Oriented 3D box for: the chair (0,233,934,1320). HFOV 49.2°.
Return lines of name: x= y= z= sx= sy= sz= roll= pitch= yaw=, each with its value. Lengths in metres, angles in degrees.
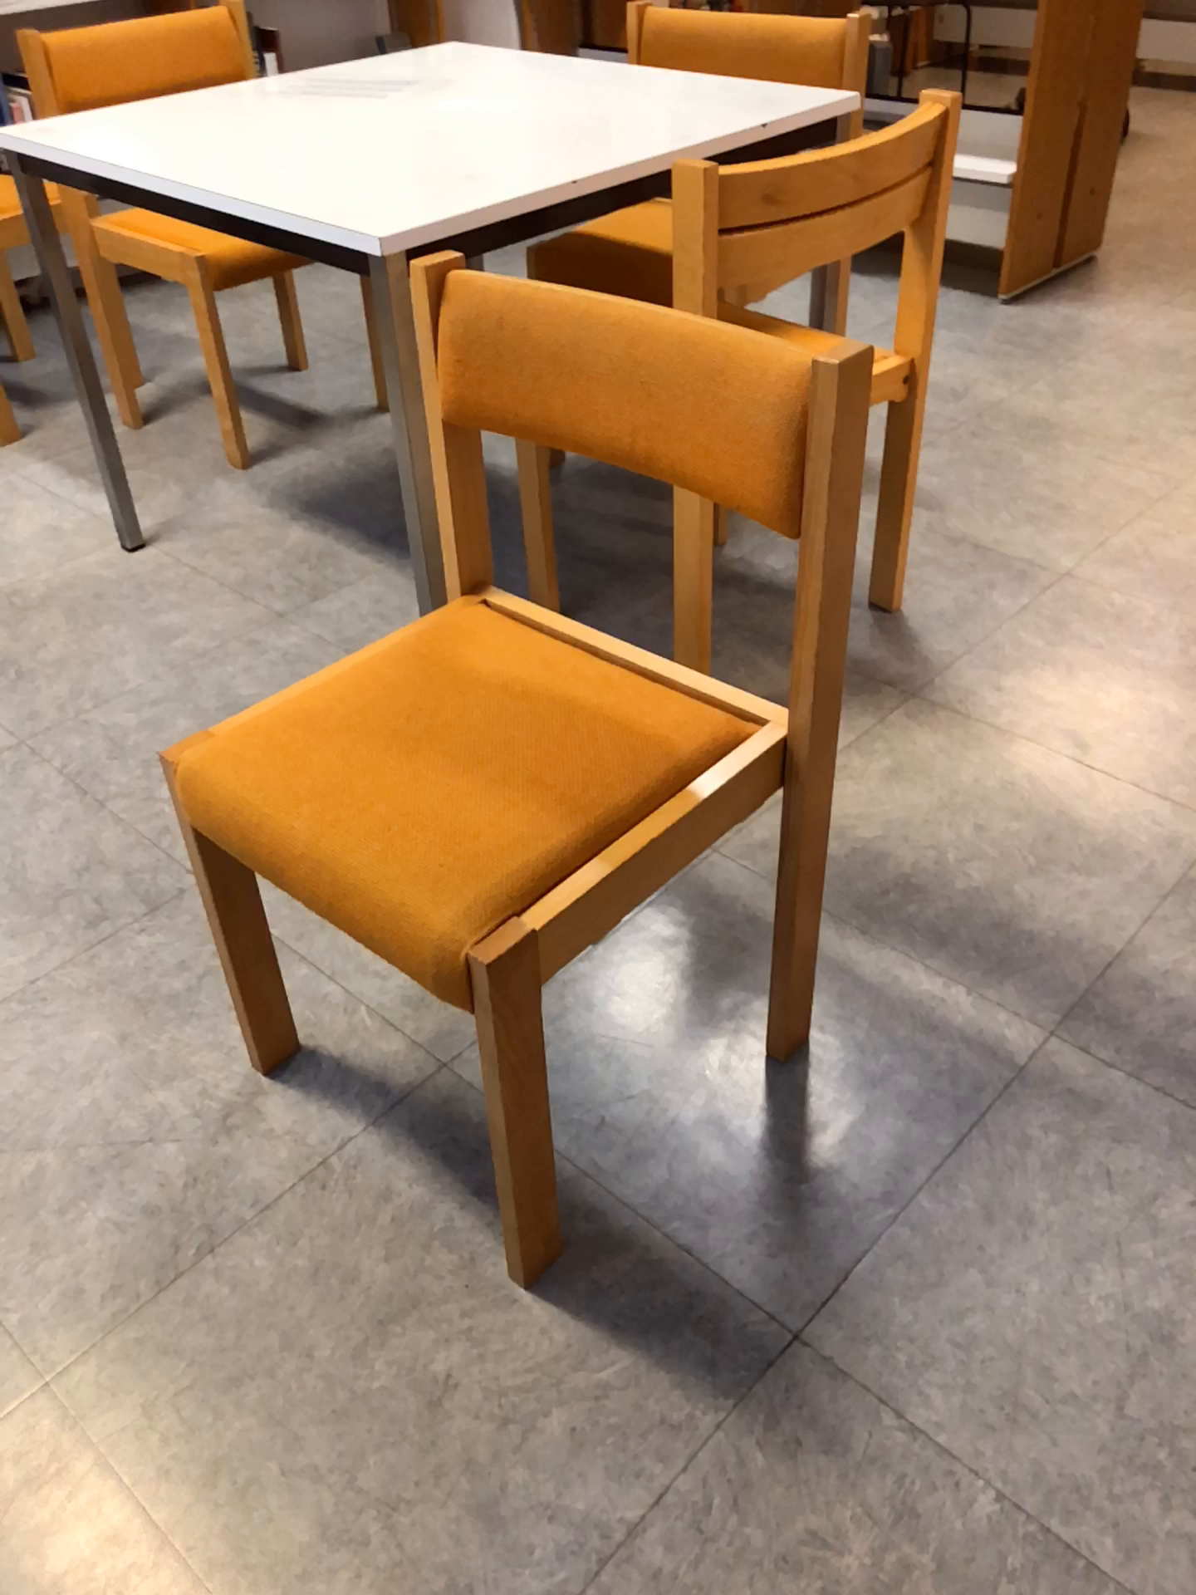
chair: x=-0.106 y=-0.057 z=1.213 sx=0.550 sy=0.696 sz=0.523 roll=28 pitch=47 yaw=34
